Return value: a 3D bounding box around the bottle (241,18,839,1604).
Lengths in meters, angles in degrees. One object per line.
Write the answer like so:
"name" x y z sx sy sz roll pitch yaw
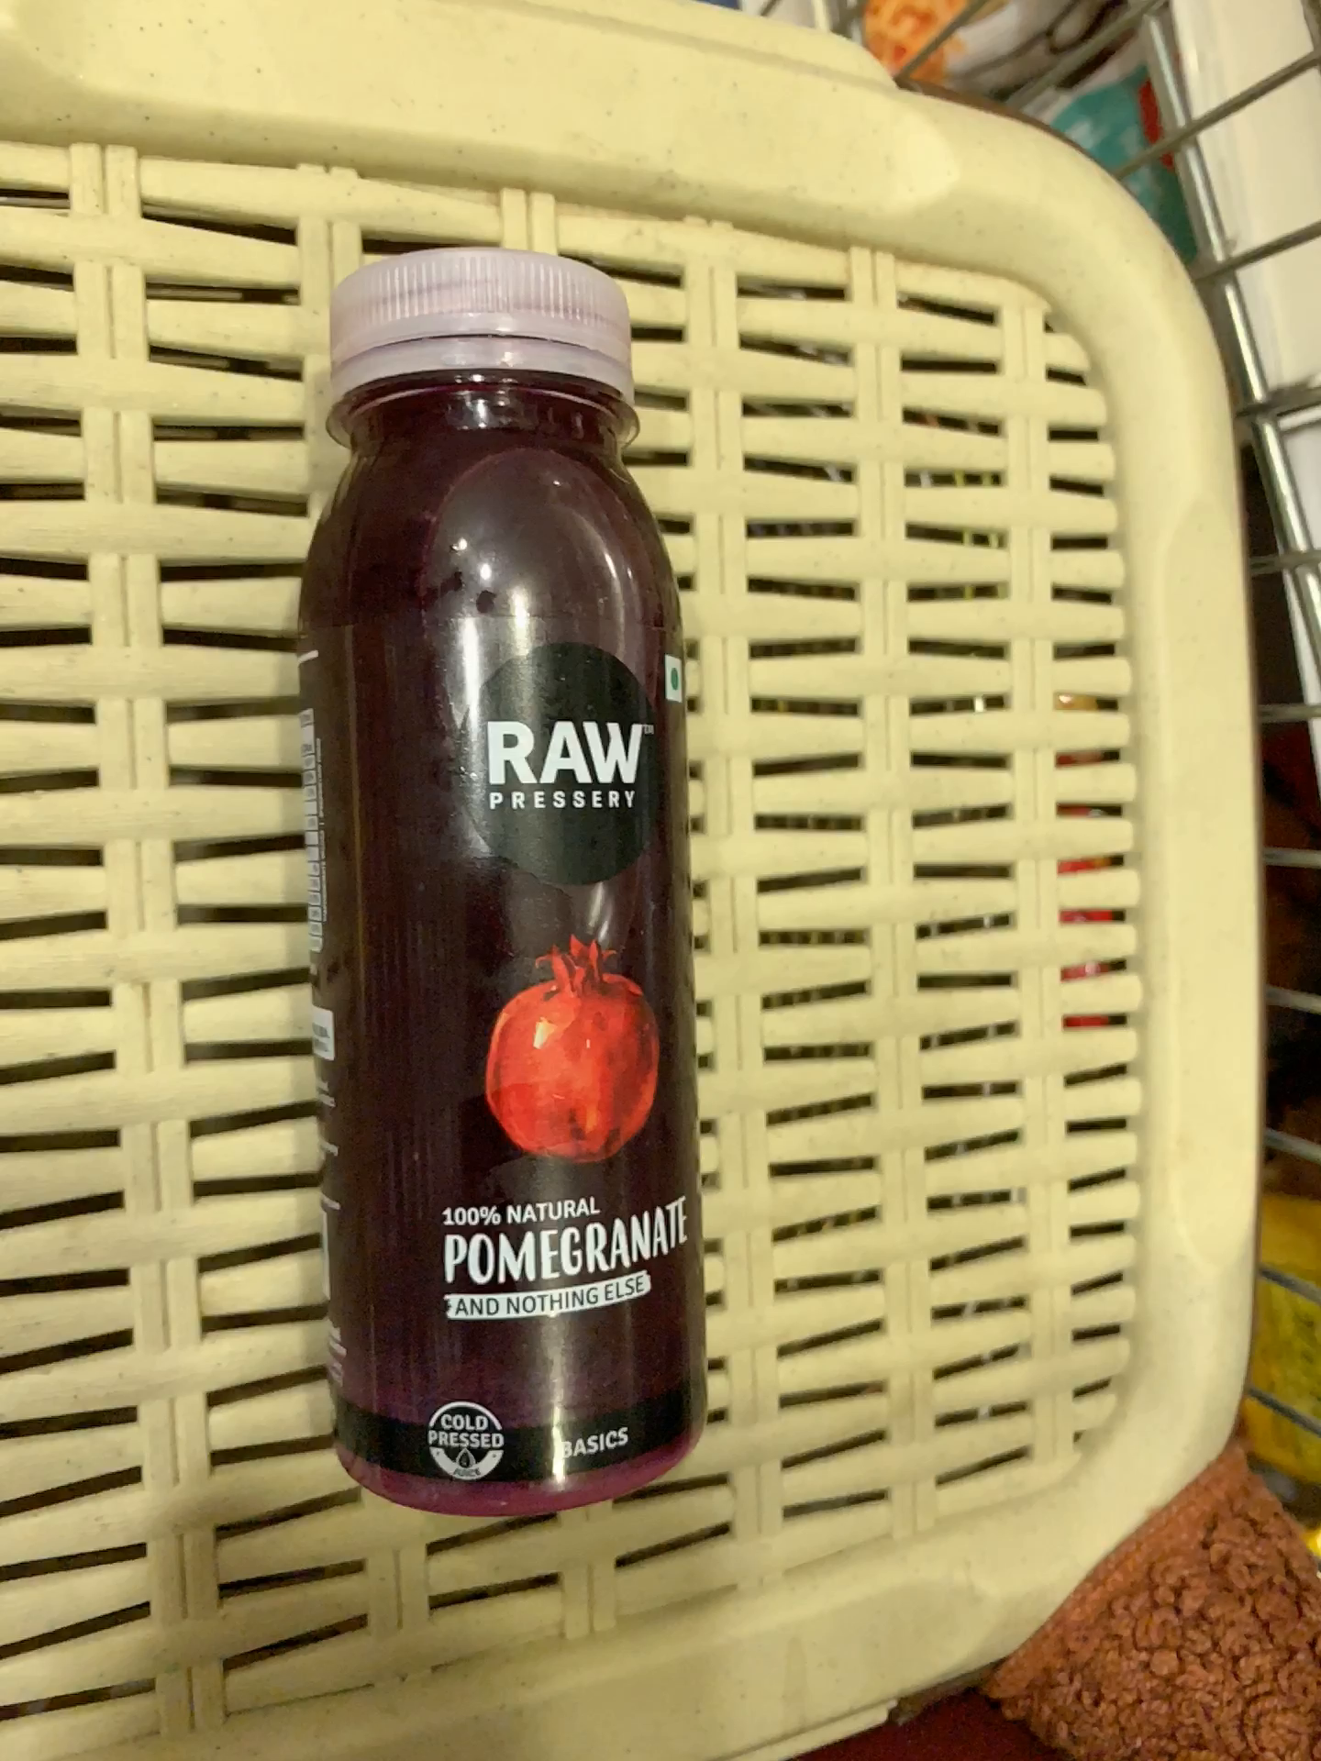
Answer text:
"bottle" -0.017 -0.007 0.175 0.060 0.050 0.160 -2 93 -25
